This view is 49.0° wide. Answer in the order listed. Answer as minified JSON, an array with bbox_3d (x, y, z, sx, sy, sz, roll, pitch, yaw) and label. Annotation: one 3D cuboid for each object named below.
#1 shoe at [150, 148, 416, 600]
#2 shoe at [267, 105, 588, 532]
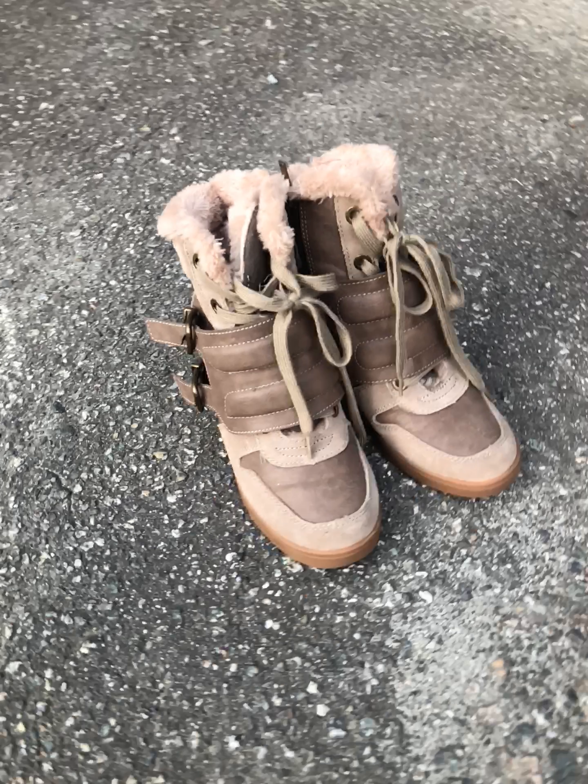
[{"bbox_3d":[-0.012,-0.020,0.430,0.090,0.179,0.232,-16,46,-8],"label":"shoe"},{"bbox_3d":[0.085,-0.060,0.451,0.100,0.179,0.231,-23,47,-15],"label":"shoe"}]
